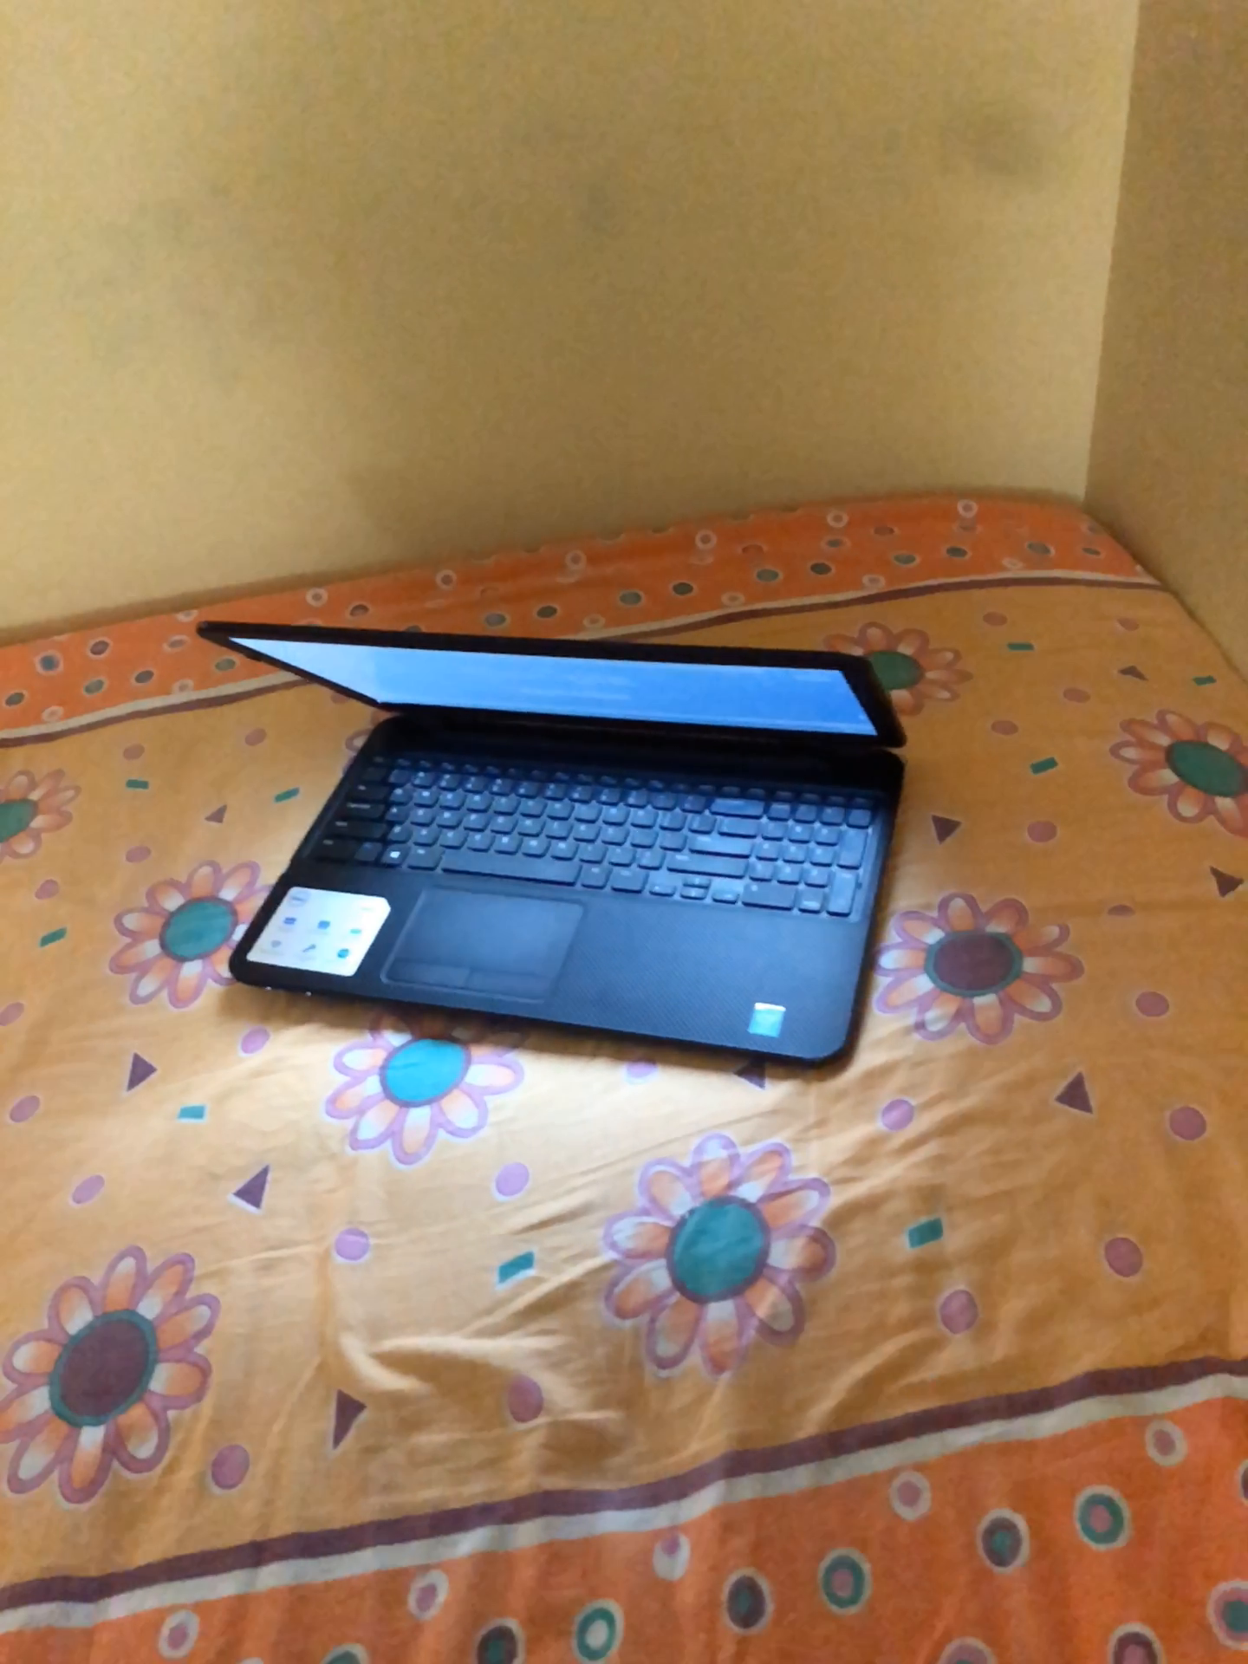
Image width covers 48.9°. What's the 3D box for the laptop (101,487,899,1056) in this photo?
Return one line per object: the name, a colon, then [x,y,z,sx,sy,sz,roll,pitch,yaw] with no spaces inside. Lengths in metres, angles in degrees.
laptop: [-0.044,-0.049,0.781,0.366,0.190,0.239,5,46,17]
